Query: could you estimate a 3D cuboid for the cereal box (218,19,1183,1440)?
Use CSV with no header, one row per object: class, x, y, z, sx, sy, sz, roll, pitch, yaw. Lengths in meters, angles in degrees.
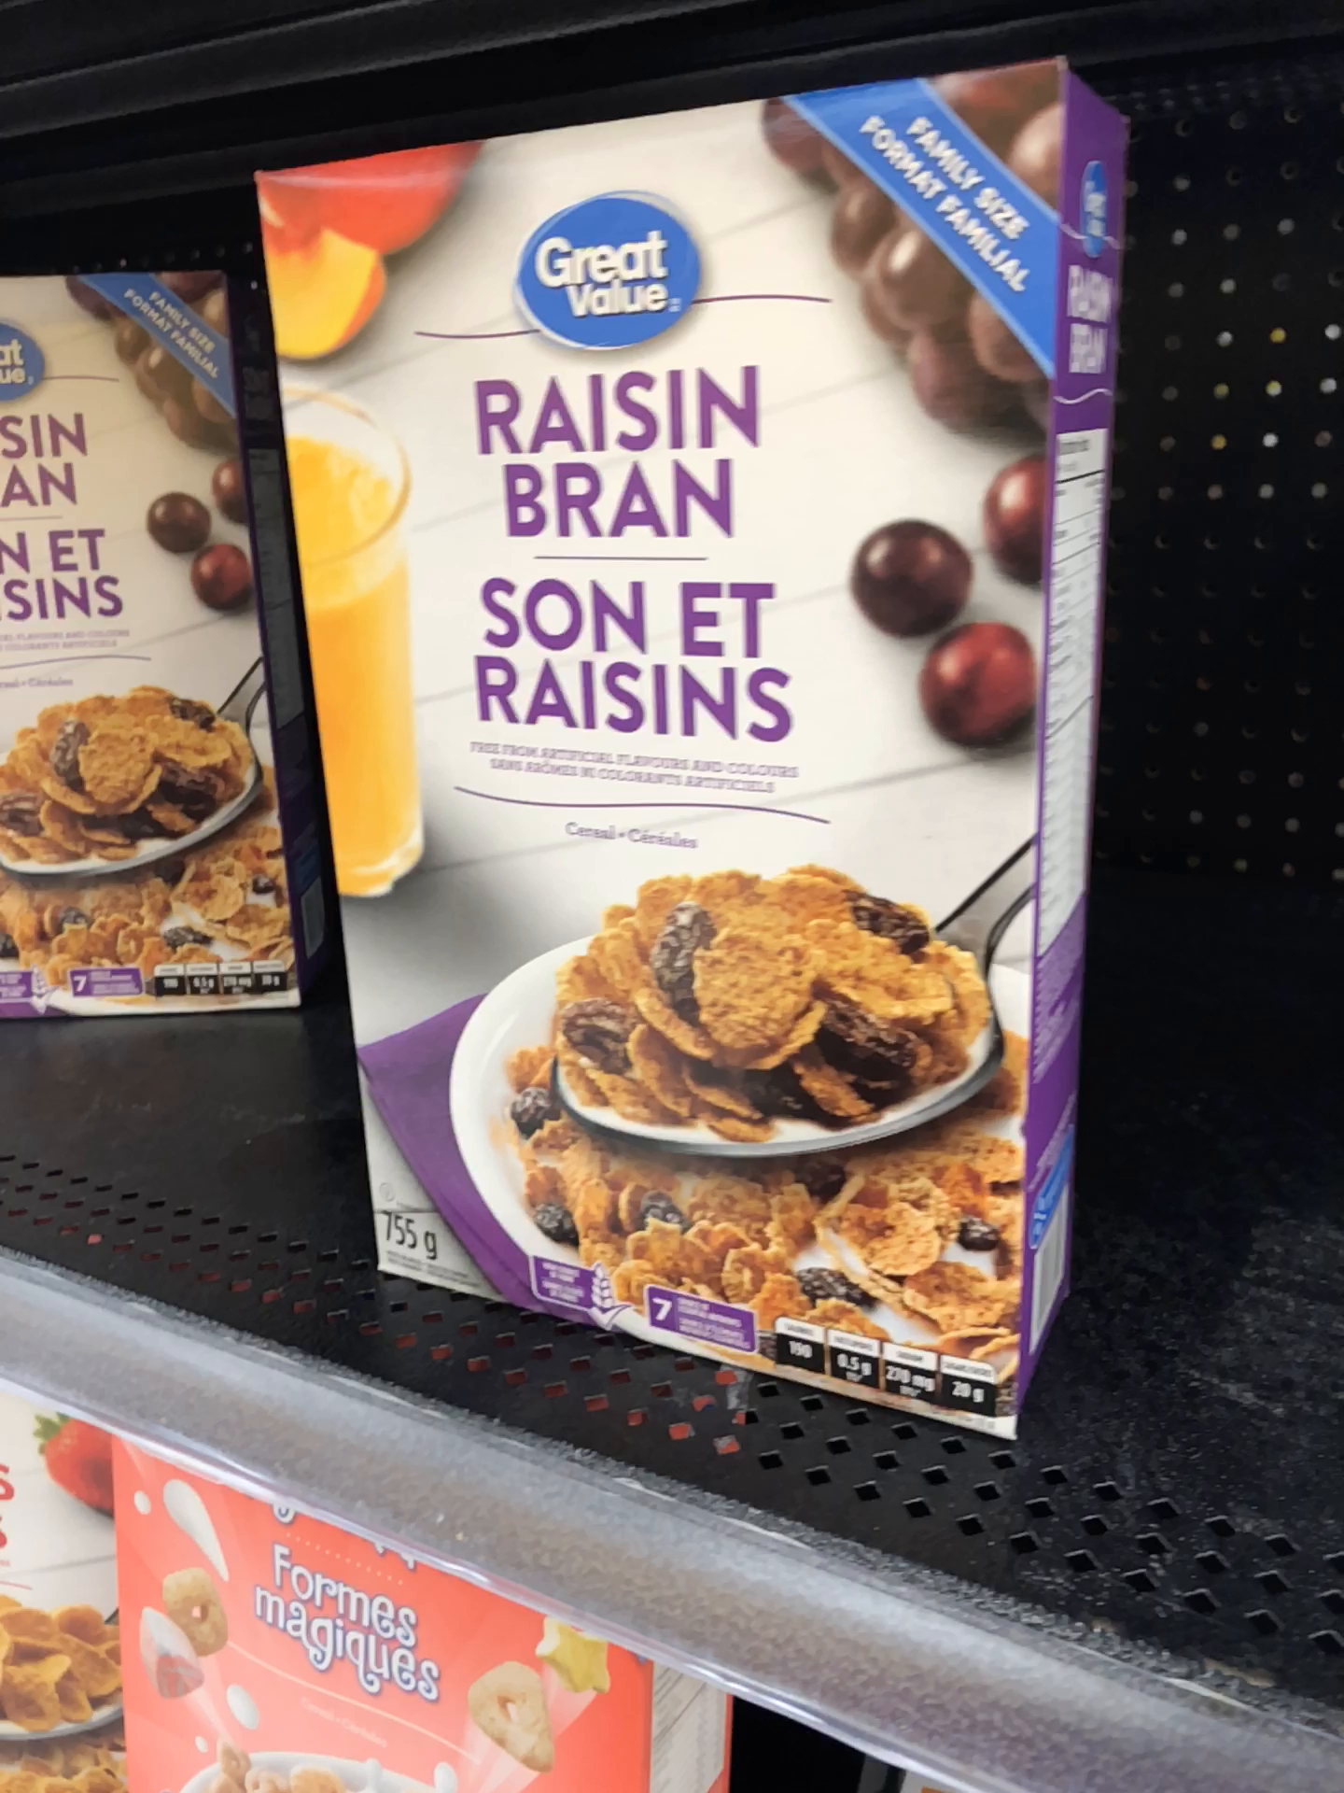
cereal box,0.006,-0.035,0.385,0.210,0.299,0.070,7,19,25
